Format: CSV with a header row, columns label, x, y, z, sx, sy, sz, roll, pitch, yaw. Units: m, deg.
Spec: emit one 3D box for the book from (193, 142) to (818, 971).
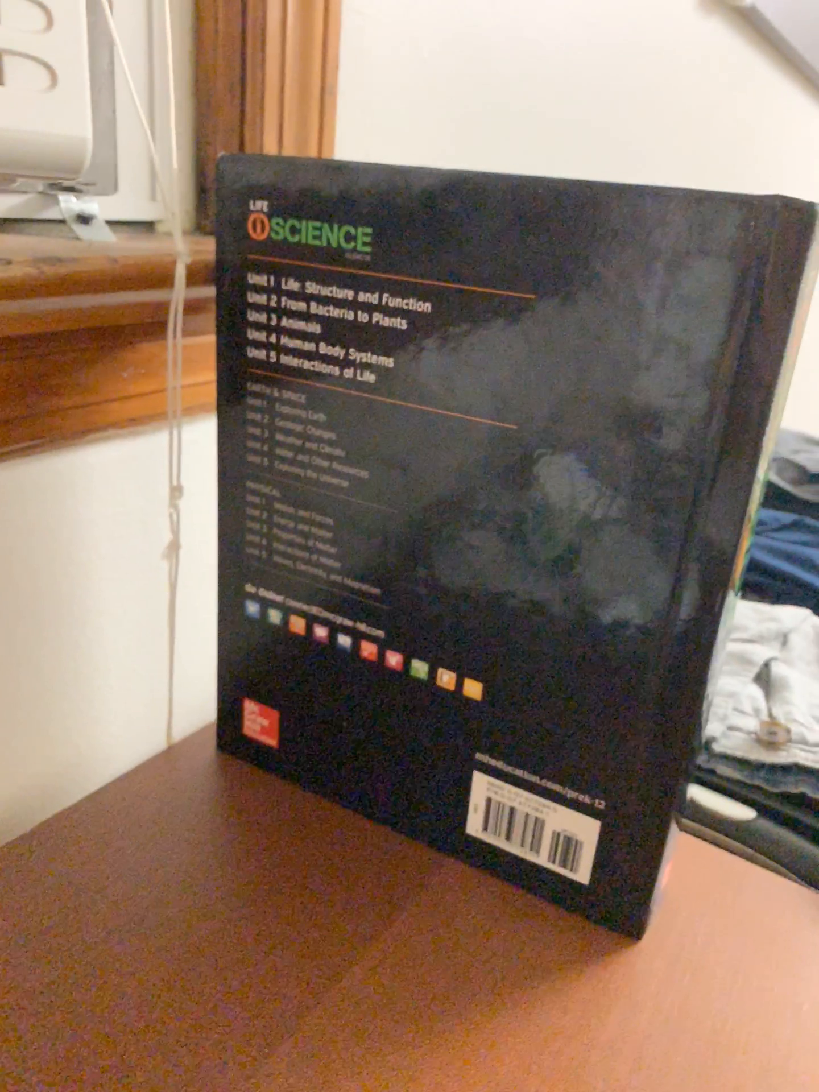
label,x,y,z,sx,sy,sz,roll,pitch,yaw
book,0.015,-0.002,0.354,0.226,0.286,0.051,16,24,26
